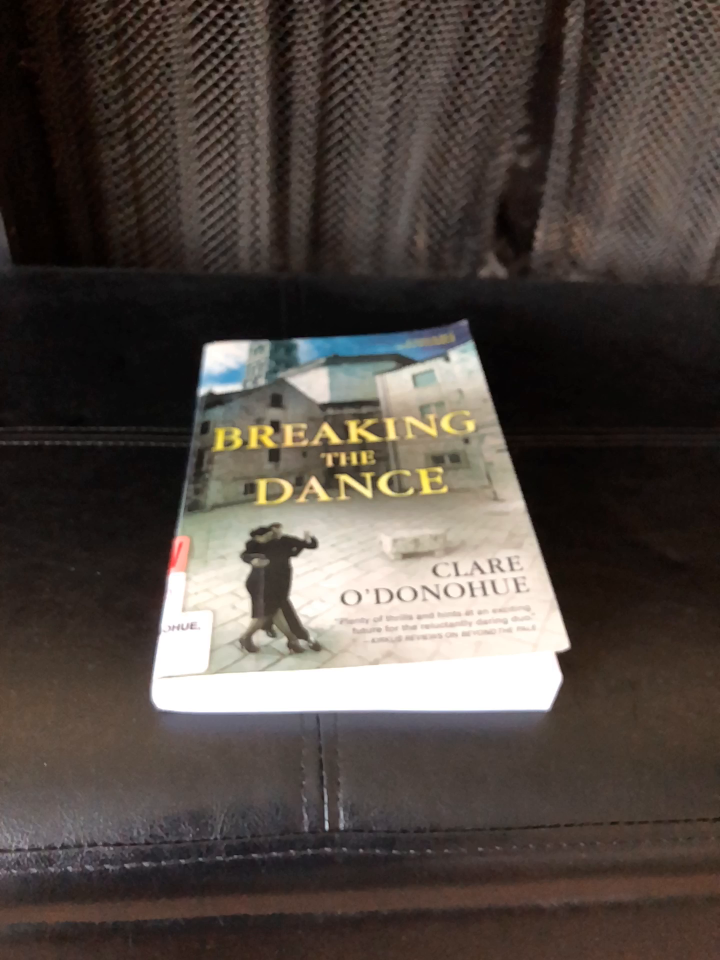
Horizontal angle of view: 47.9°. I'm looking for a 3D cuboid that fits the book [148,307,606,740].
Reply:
[{"bbox_3d":[-0.001,0.002,0.338,0.140,0.040,0.210,1,42,-5],"label":"book"}]
